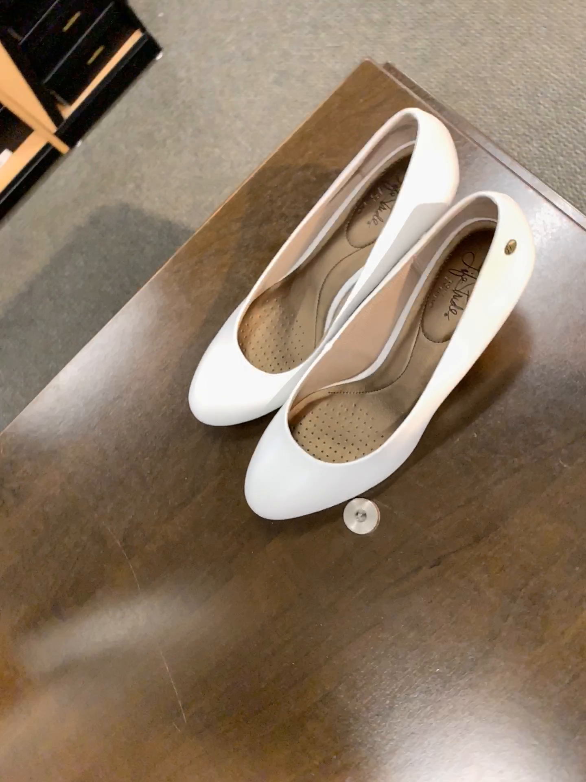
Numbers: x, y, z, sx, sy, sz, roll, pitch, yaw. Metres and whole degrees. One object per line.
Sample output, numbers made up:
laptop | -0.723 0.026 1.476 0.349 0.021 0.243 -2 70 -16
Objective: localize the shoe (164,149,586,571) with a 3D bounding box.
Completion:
shoe | 0.057 -0.009 0.401 0.260 0.110 0.090 -44 70 7

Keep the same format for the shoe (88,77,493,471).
shoe | 0.004 -0.064 0.421 0.260 0.110 0.090 -41 70 8
